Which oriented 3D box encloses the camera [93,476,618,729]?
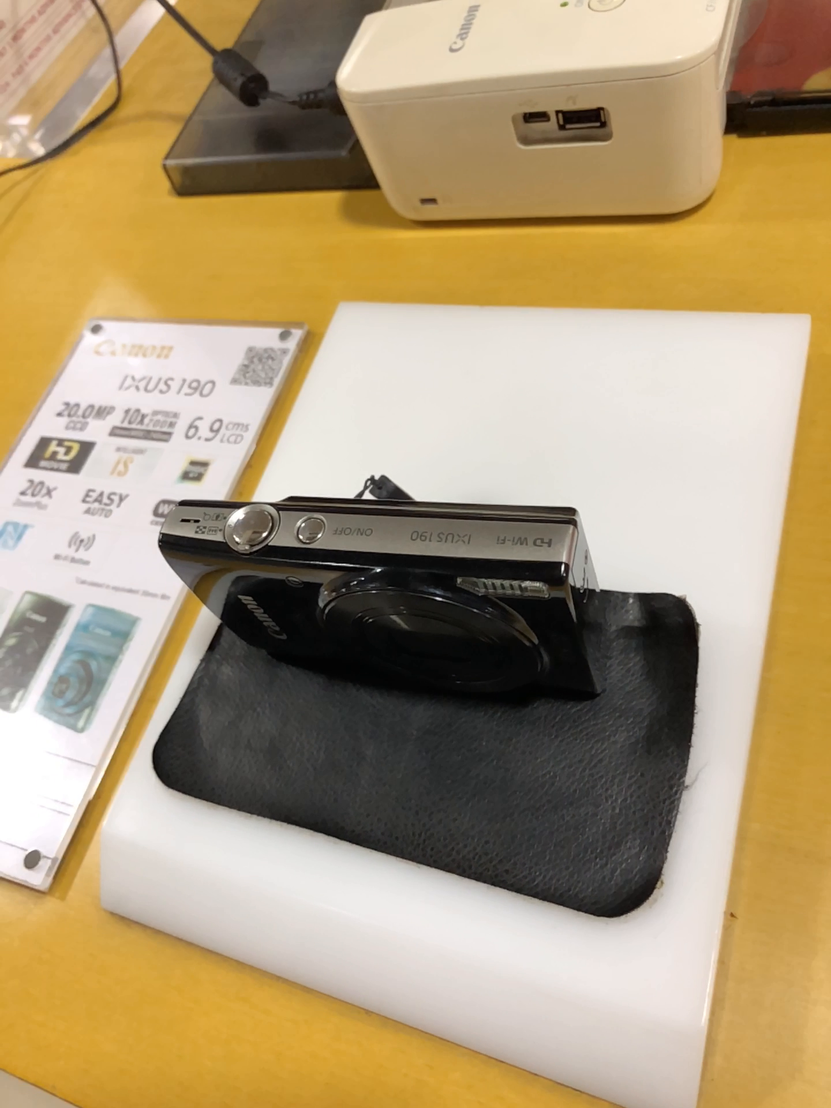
[{"bbox_3d":[-0.010,0.010,0.204,0.100,0.050,0.030,2,60,20],"label":"camera"}]
